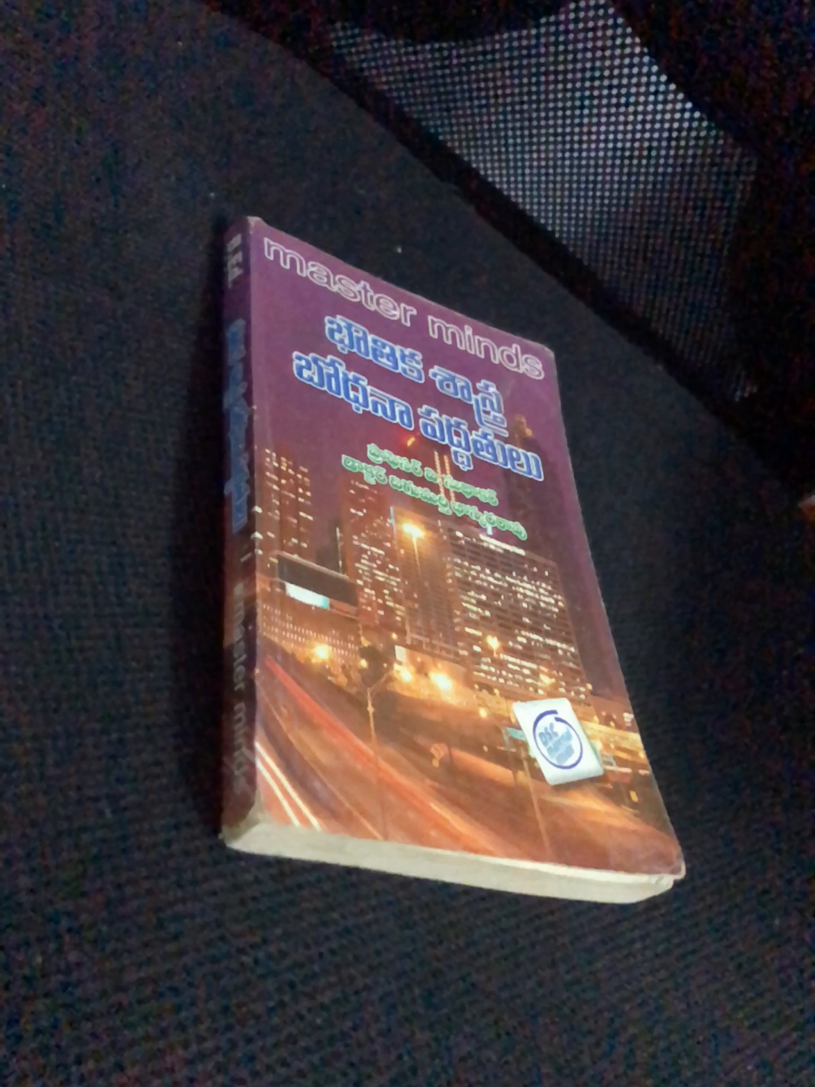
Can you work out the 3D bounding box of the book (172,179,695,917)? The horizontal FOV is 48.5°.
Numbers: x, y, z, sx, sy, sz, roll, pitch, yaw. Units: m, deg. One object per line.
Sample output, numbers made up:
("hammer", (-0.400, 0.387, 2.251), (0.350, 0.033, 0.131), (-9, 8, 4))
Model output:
("book", (0.004, -0.006, 0.286), (0.146, 0.027, 0.219), (22, 44, -34))
